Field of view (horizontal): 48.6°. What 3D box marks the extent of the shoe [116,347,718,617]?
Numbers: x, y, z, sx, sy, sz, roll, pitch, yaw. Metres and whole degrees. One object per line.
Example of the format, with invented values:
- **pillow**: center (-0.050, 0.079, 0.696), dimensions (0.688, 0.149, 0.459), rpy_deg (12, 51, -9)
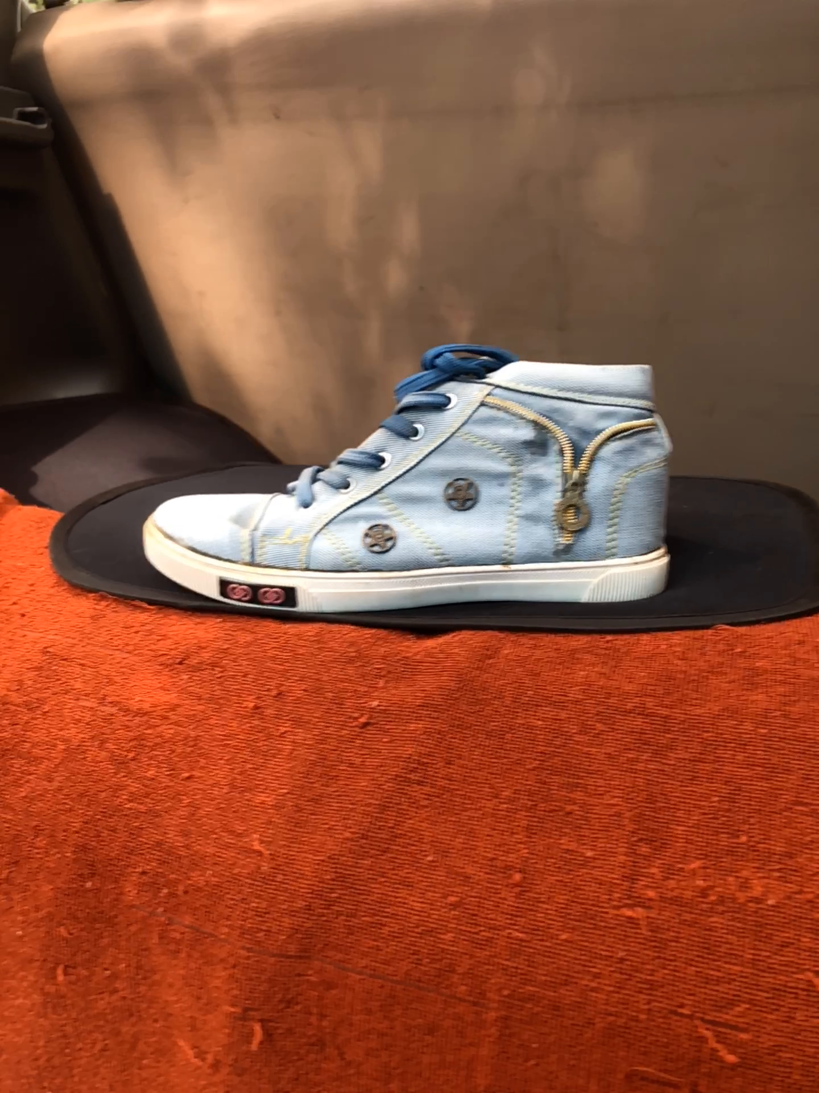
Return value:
- **shoe**: center (0.004, -0.039, 0.461), dimensions (0.260, 0.110, 0.110), rpy_deg (1, 18, 3)
